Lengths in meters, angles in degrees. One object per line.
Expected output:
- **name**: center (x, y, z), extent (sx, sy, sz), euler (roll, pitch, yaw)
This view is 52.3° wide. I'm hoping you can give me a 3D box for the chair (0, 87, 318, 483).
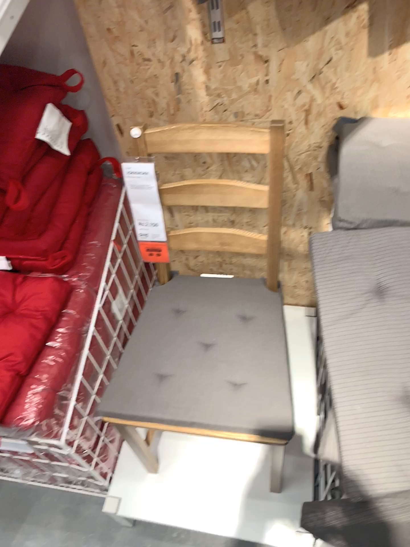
- **chair**: center (0.014, 0.096, 1.026), extent (0.440, 0.867, 0.501), euler (3, 51, 12)
